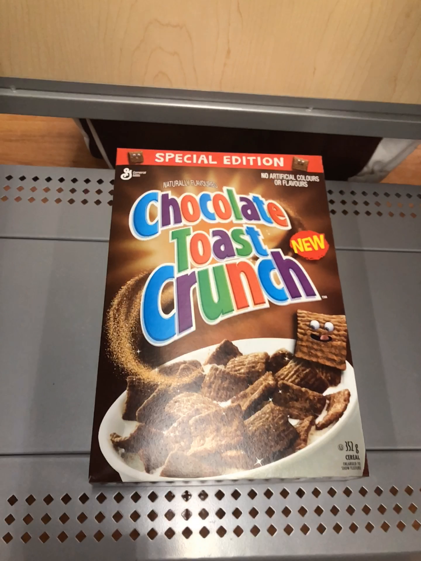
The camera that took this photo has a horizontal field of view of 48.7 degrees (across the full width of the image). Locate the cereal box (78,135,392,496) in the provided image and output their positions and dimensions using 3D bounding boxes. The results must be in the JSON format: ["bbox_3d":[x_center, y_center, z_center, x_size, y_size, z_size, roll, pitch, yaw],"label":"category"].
[{"bbox_3d":[0.012,0.022,0.400,0.200,0.090,0.291,2,62,-5],"label":"cereal box"}]
